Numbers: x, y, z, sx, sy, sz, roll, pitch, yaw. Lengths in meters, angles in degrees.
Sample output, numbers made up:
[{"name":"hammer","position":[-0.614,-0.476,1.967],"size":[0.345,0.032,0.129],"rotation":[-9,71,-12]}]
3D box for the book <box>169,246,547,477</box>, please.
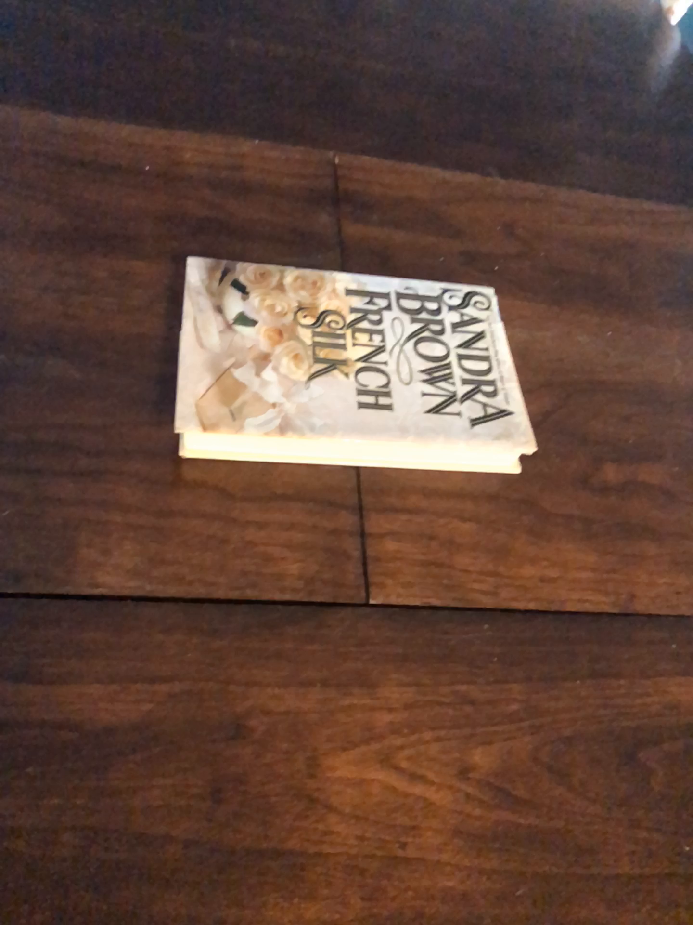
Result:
[{"name":"book","position":[0.004,-0.071,0.534],"size":[0.240,0.033,0.161],"rotation":[3,55,-12]}]
